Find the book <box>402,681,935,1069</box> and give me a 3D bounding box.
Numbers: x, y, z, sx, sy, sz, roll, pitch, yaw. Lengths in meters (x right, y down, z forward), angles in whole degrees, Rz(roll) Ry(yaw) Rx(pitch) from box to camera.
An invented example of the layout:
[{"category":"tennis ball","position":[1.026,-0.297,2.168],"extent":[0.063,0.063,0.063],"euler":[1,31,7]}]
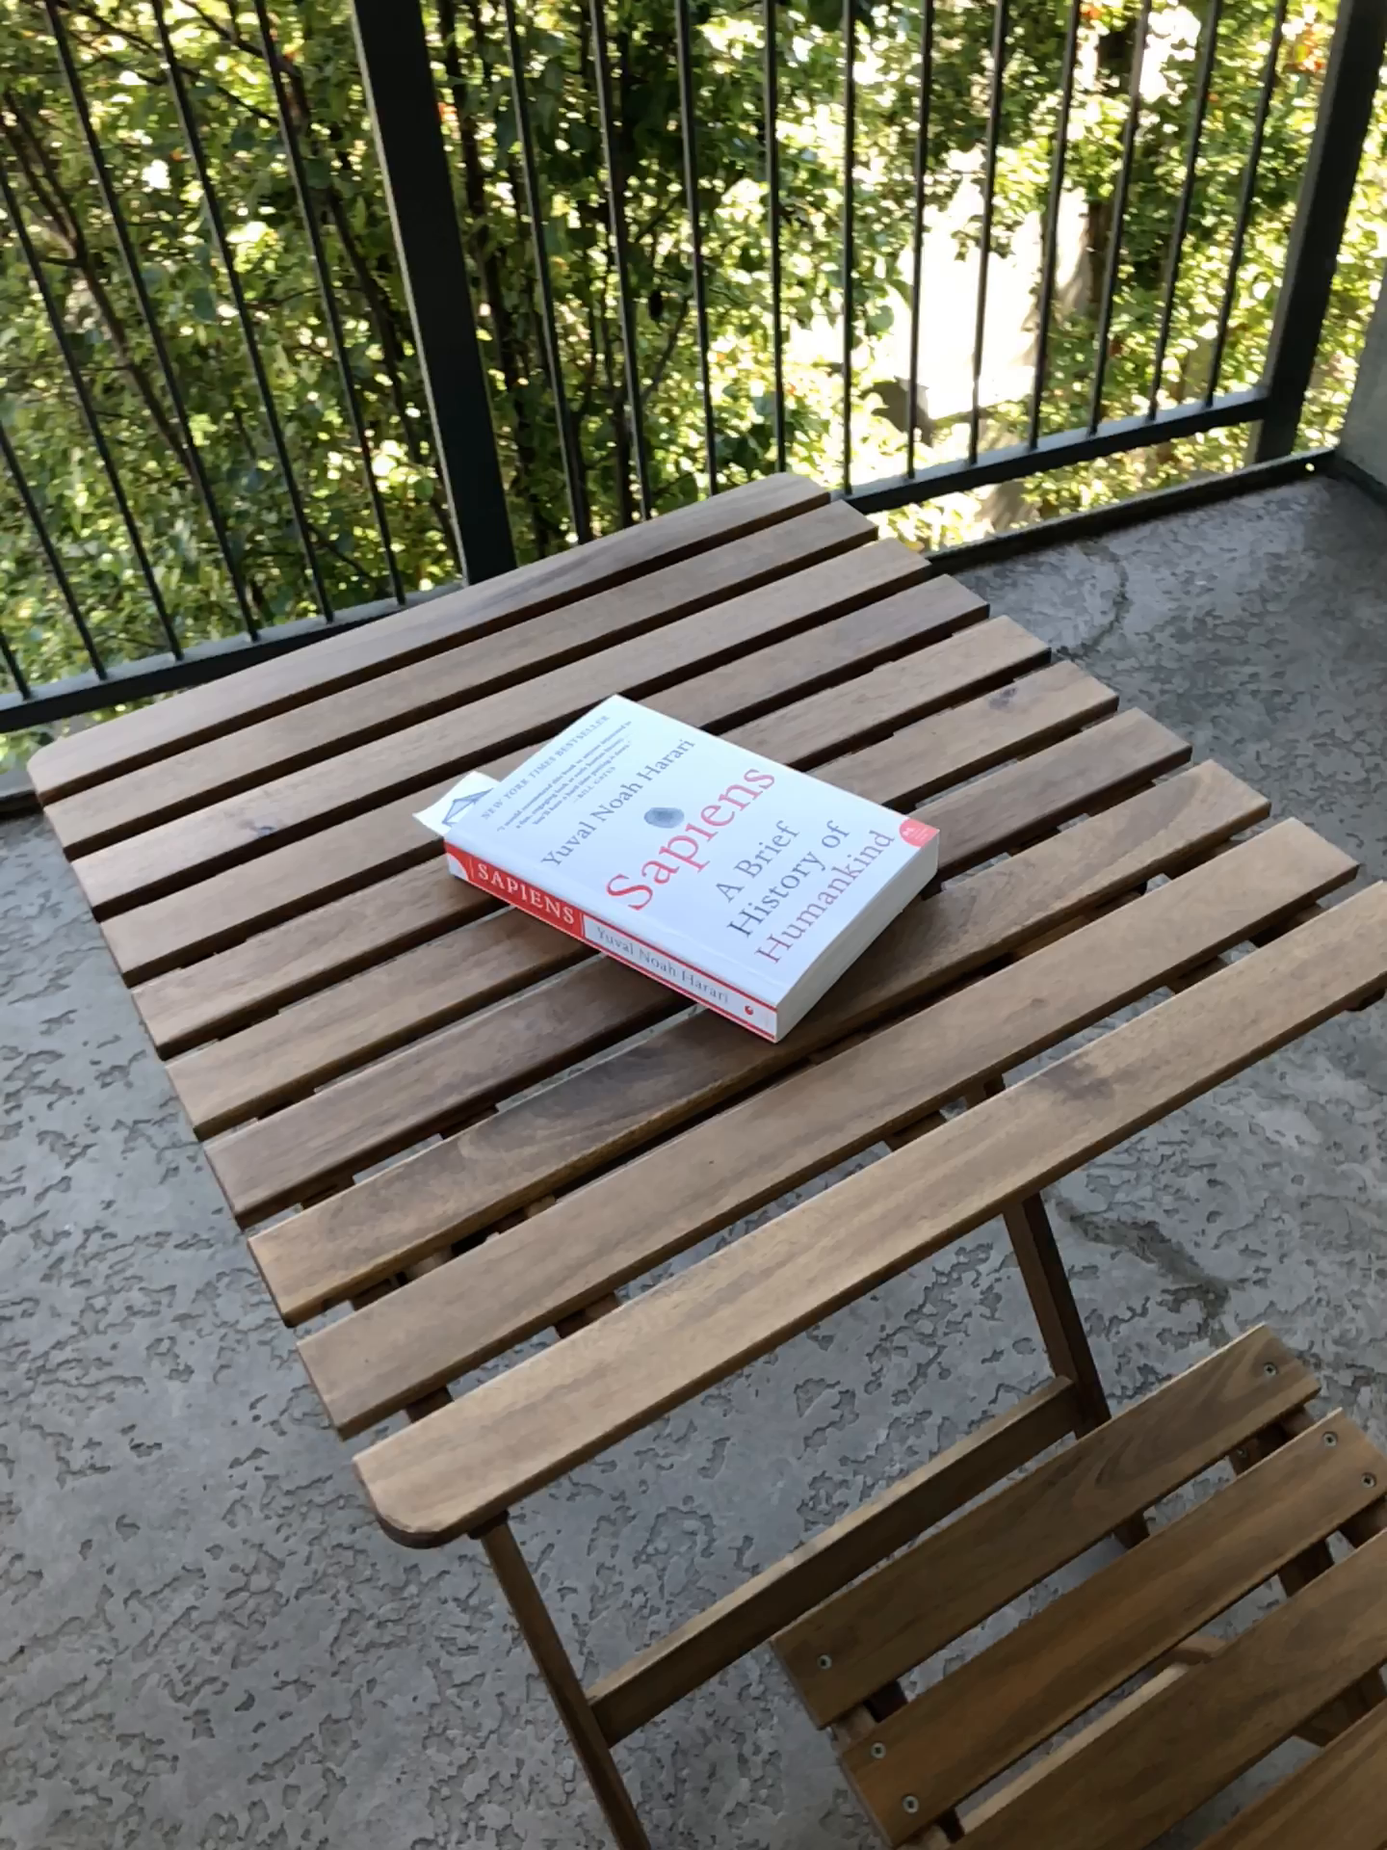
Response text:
[{"category":"book","position":[-0.015,-0.038,0.840],"extent":[0.240,0.040,0.160],"euler":[27,53,28]}]
